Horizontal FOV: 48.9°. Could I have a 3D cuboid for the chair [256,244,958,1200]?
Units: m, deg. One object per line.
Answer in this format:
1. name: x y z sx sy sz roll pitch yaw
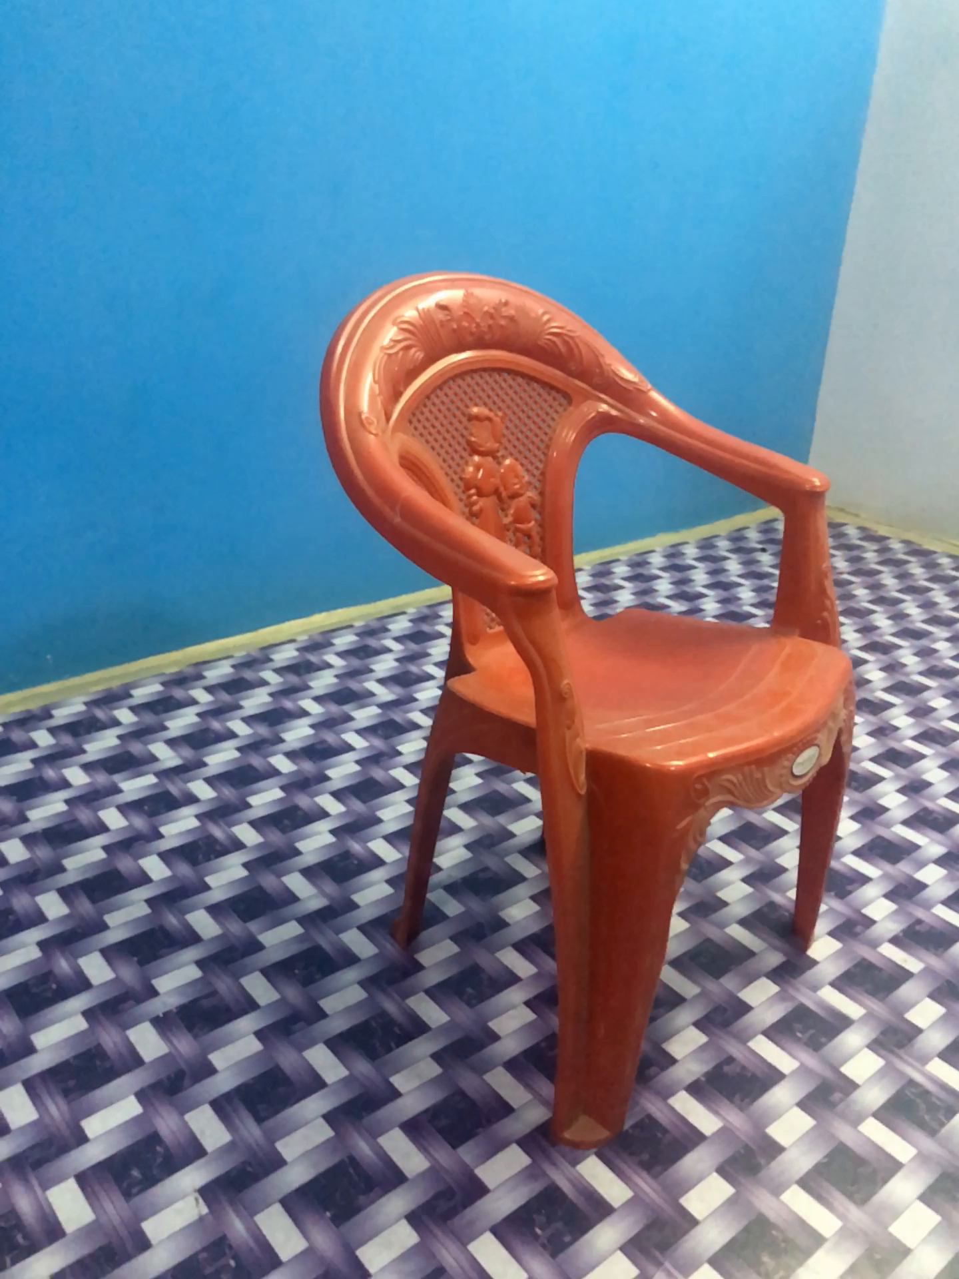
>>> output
1. chair: 0.110 0.000 0.841 0.380 0.557 0.412 24 30 39
